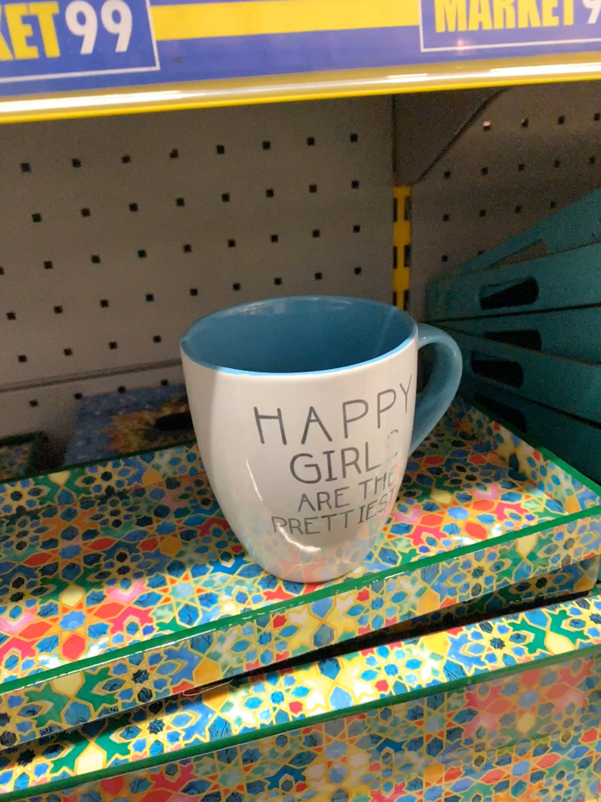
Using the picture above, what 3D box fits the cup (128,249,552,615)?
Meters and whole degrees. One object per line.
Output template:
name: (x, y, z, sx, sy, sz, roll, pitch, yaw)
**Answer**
cup: (0.018, -0.003, 0.304, 0.150, 0.100, 0.120, -19, 28, -28)
